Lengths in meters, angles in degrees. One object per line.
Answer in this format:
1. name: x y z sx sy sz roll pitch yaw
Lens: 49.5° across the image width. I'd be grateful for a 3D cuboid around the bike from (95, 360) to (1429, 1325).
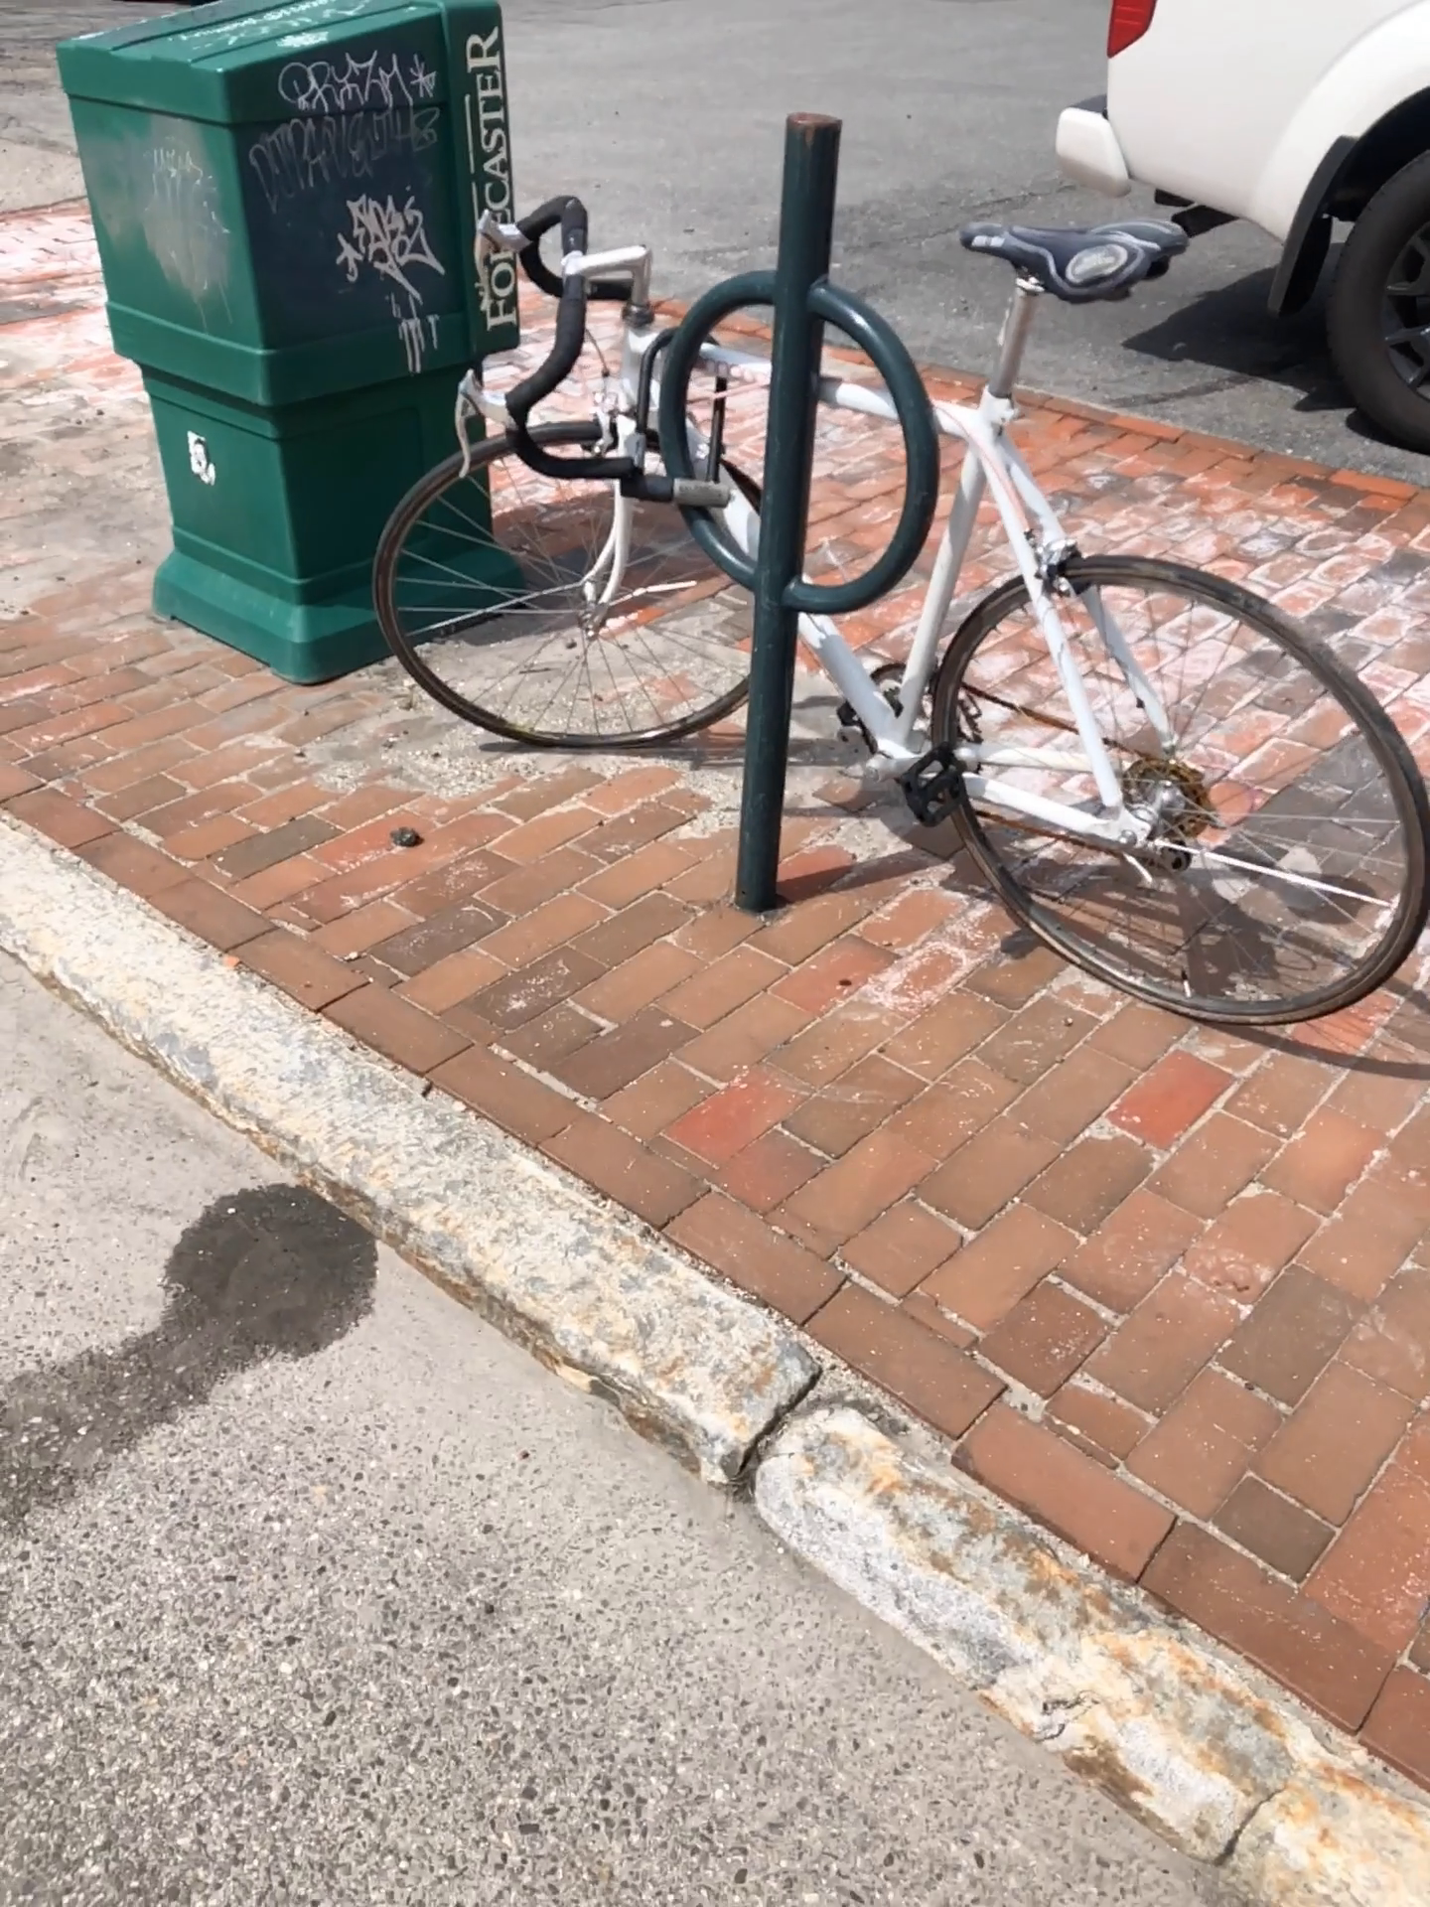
1. bike: 0.052 -0.192 1.667 1.275 0.650 0.467 18 39 26
